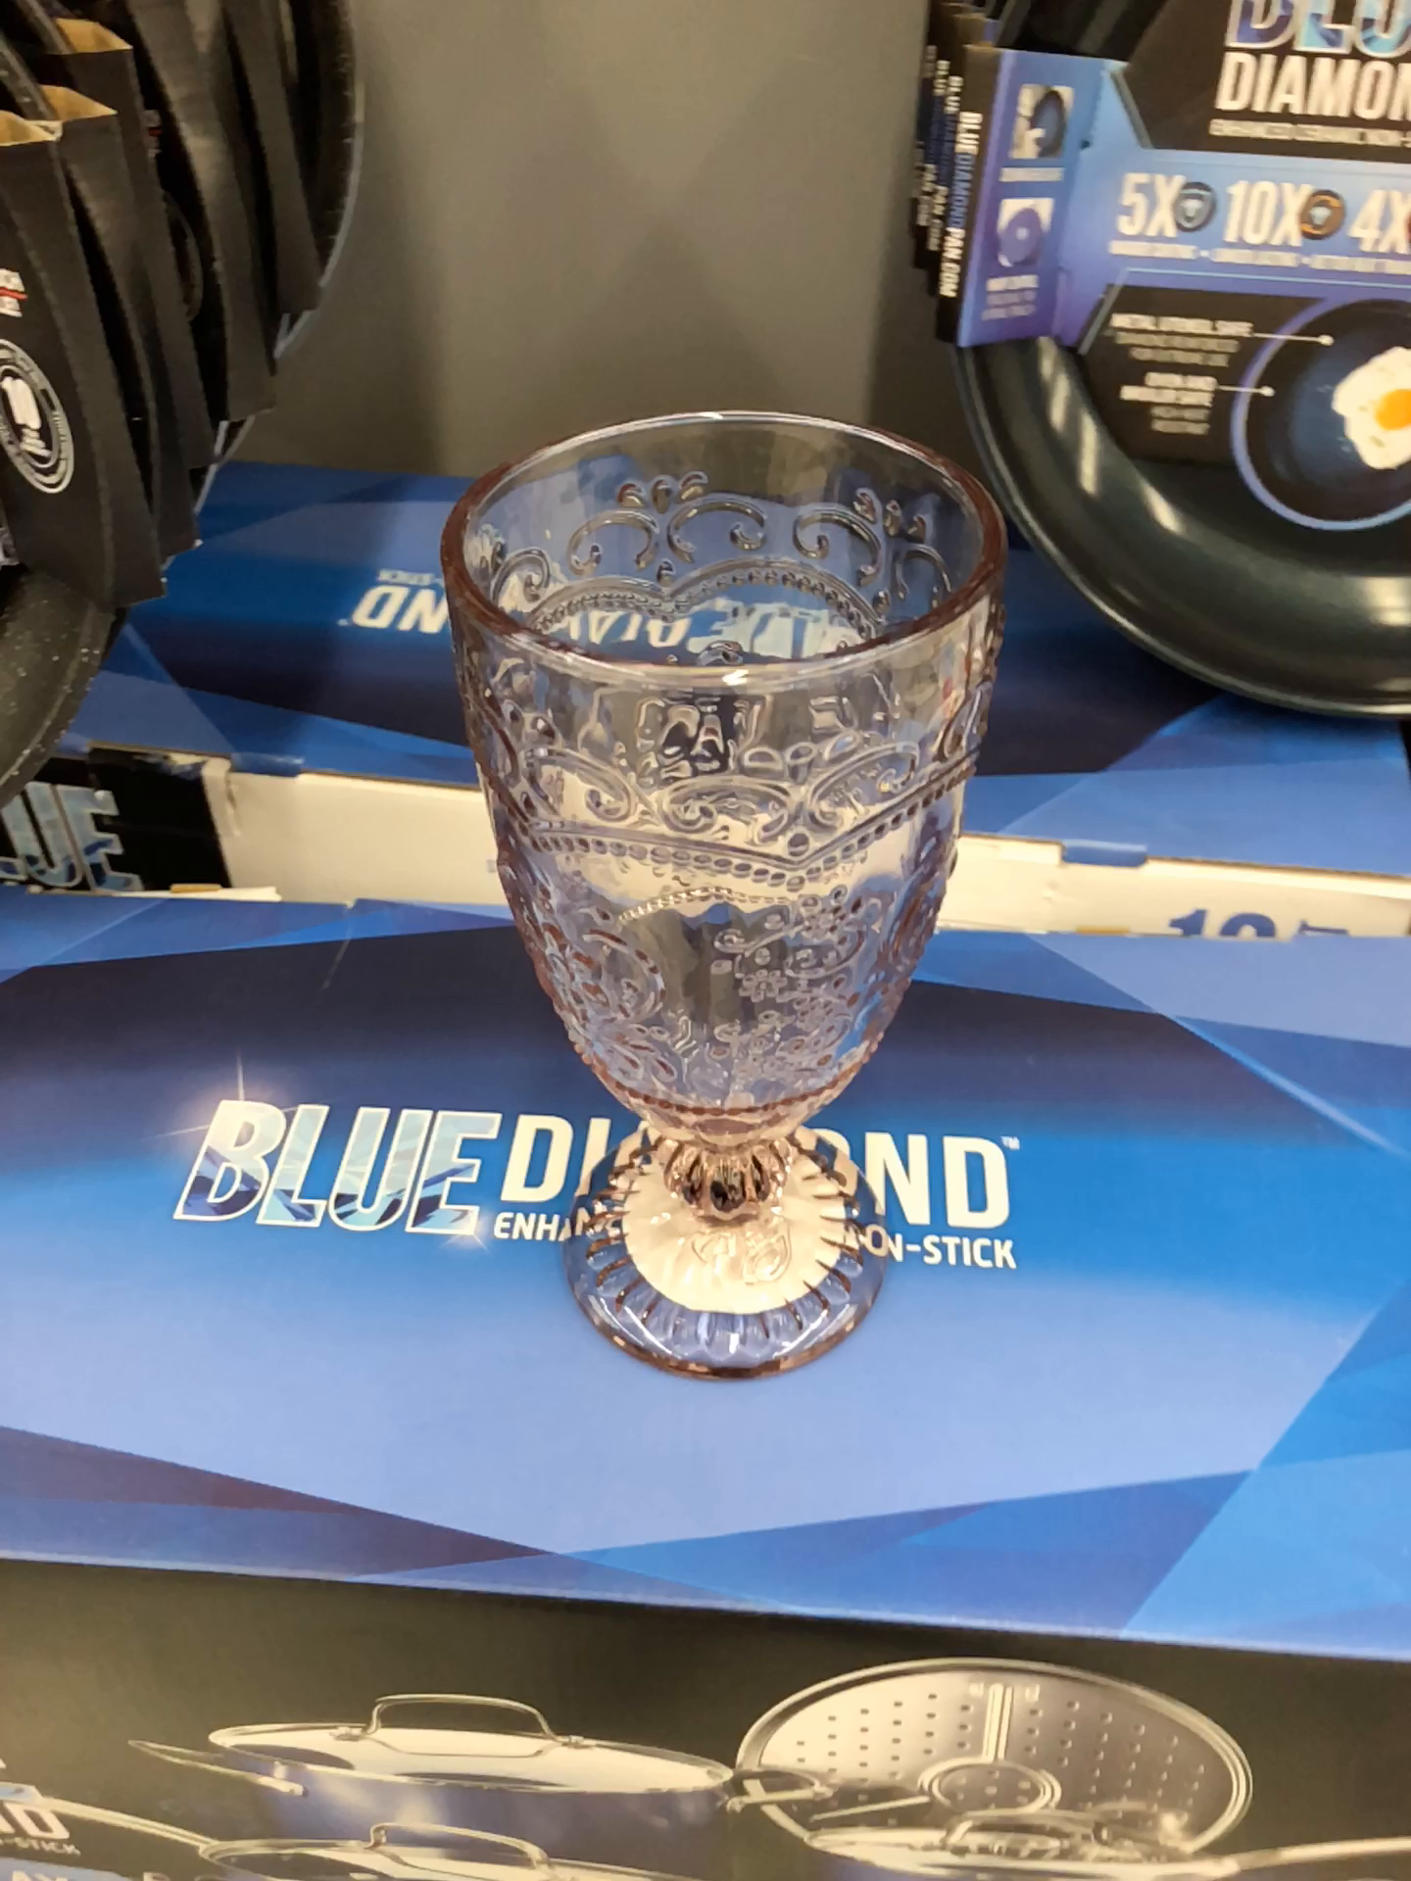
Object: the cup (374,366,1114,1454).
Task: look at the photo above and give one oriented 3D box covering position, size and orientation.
[{"bbox_3d":[0.003,0.000,0.287,0.089,0.168,0.086,-2,41,1],"label":"cup"}]
